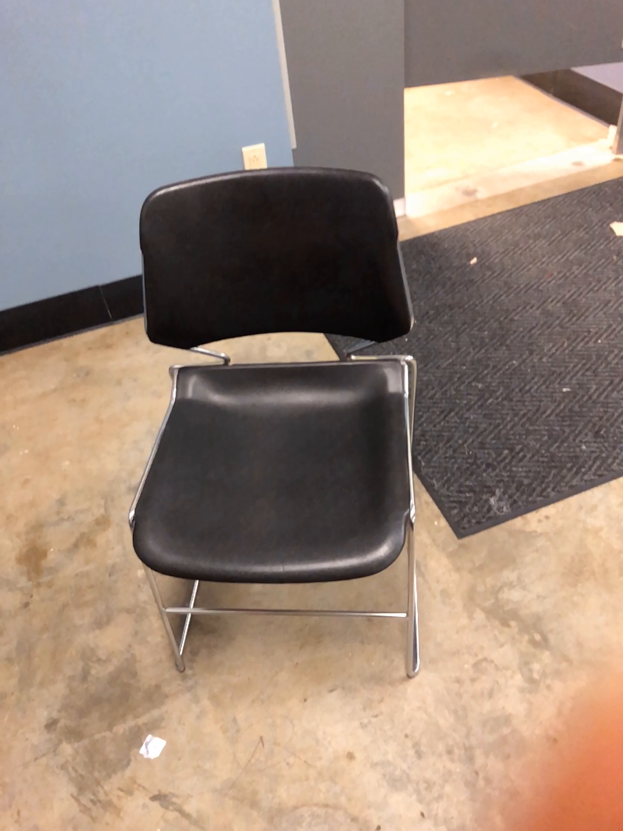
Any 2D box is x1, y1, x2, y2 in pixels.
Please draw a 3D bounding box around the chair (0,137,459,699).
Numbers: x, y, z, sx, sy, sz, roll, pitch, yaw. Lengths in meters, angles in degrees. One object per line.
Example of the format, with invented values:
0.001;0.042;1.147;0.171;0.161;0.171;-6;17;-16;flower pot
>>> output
-0.059;0.041;1.168;0.524;0.765;0.552;-2;44;7;chair
